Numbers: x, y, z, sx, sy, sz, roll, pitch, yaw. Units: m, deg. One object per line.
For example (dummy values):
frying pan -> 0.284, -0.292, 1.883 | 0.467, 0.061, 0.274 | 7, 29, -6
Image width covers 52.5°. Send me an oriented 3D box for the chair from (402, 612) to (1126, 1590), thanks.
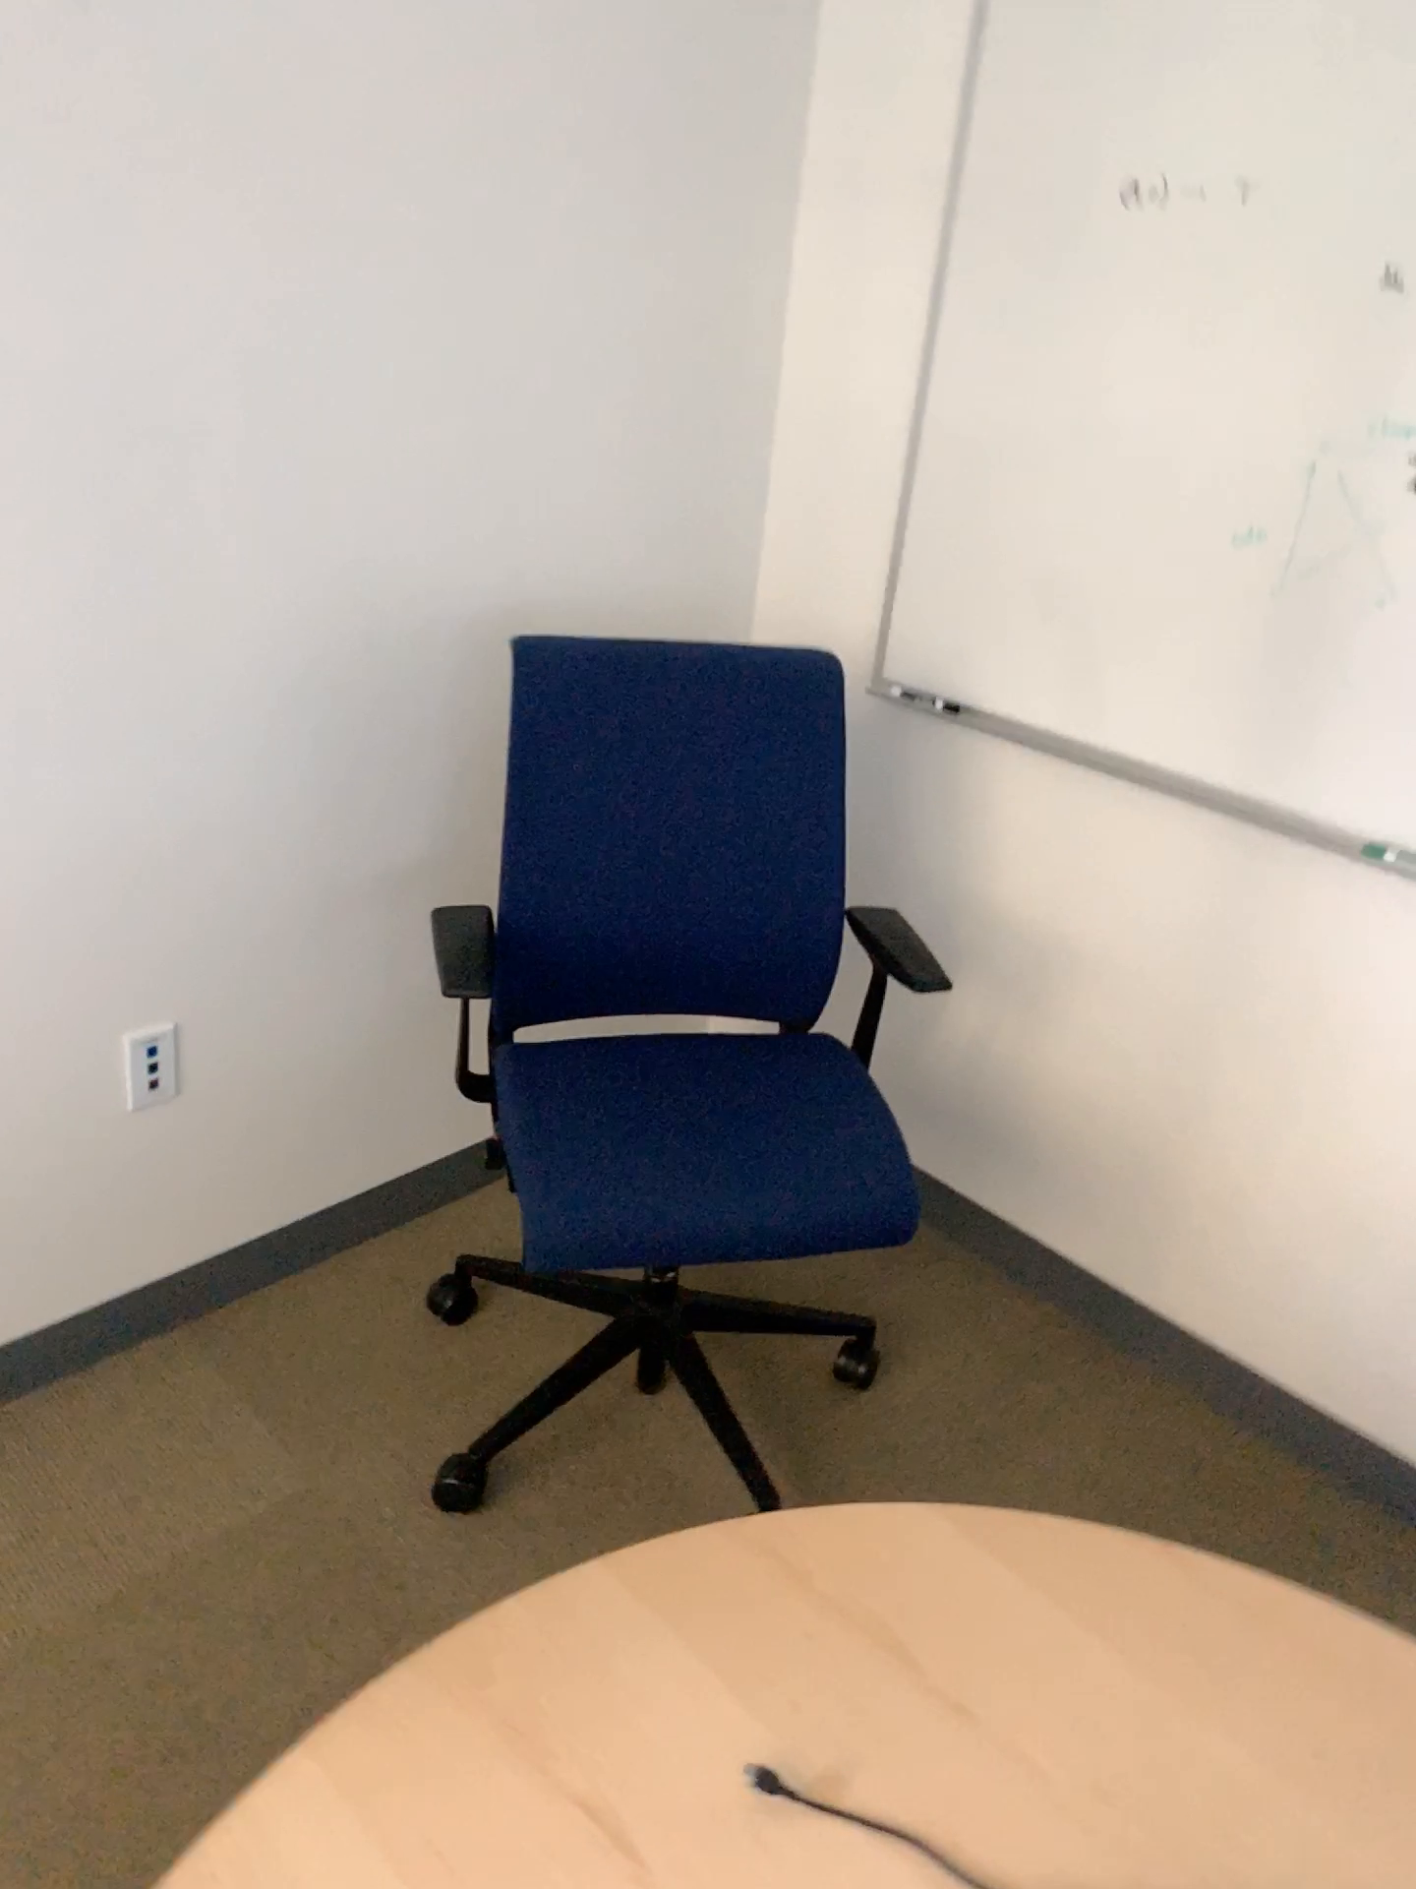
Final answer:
chair -> -0.045, 0.150, 2.087 | 0.740, 0.995, 0.986 | 1, 26, -10
